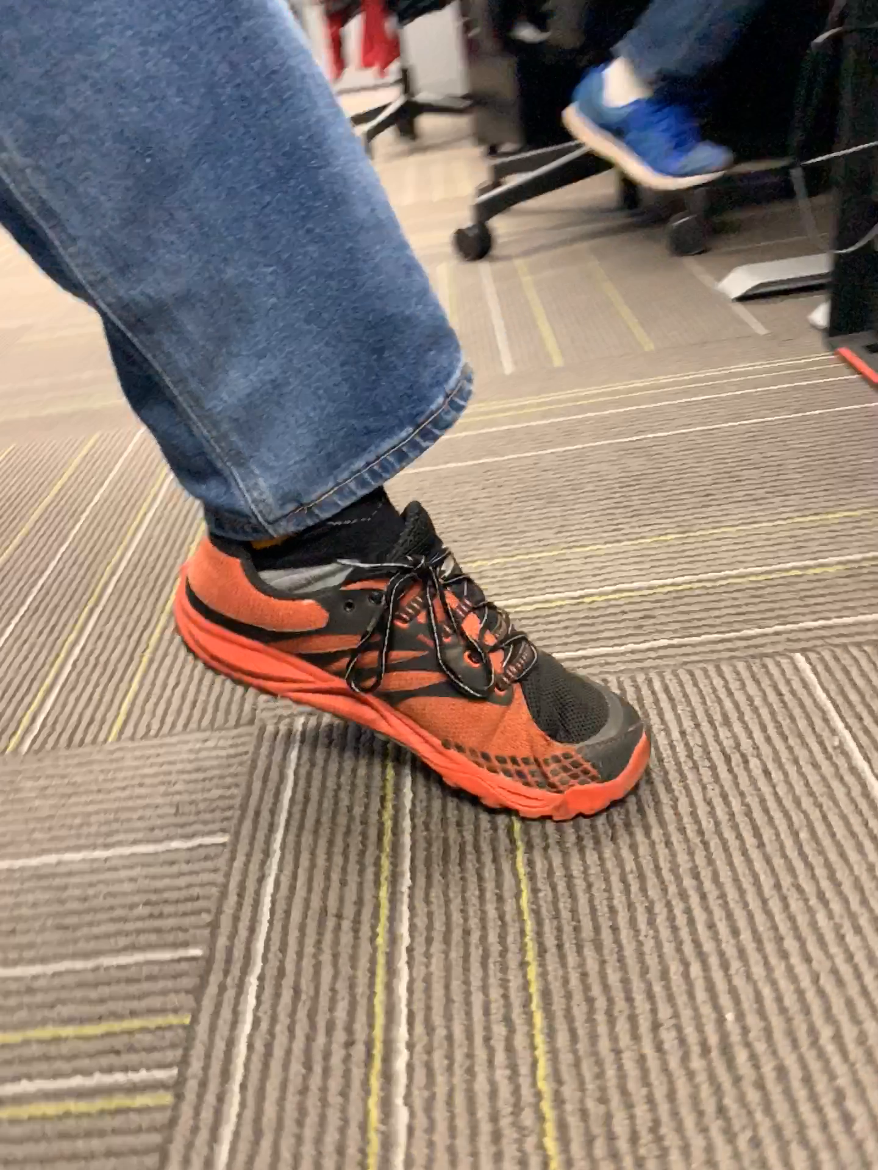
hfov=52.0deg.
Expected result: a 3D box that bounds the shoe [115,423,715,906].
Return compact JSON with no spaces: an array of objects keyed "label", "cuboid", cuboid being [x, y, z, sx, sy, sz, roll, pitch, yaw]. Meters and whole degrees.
[{"label":"shoe","cuboid":[-0.013,0.035,0.534,0.315,0.106,0.126,27,33,7]}]
